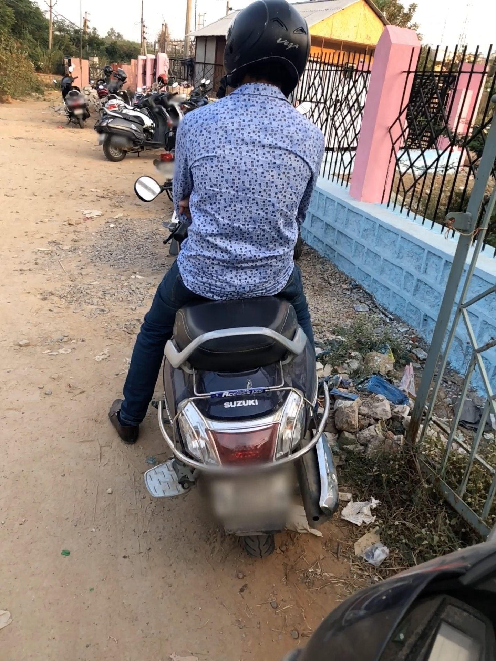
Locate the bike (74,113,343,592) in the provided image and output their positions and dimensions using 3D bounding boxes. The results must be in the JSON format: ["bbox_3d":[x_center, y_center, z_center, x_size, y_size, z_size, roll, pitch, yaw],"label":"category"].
[{"bbox_3d":[-0.313,-0.074,1.993,0.593,1.013,1.400,0,30,-14],"label":"bike"}]
